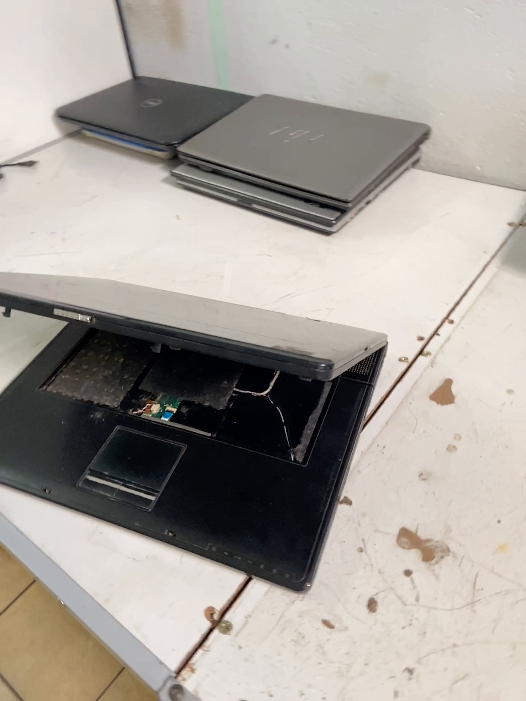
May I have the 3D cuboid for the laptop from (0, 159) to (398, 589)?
[{"bbox_3d":[-0.090,-0.014,0.472,0.348,0.164,0.261,12,47,19],"label":"laptop"}]
